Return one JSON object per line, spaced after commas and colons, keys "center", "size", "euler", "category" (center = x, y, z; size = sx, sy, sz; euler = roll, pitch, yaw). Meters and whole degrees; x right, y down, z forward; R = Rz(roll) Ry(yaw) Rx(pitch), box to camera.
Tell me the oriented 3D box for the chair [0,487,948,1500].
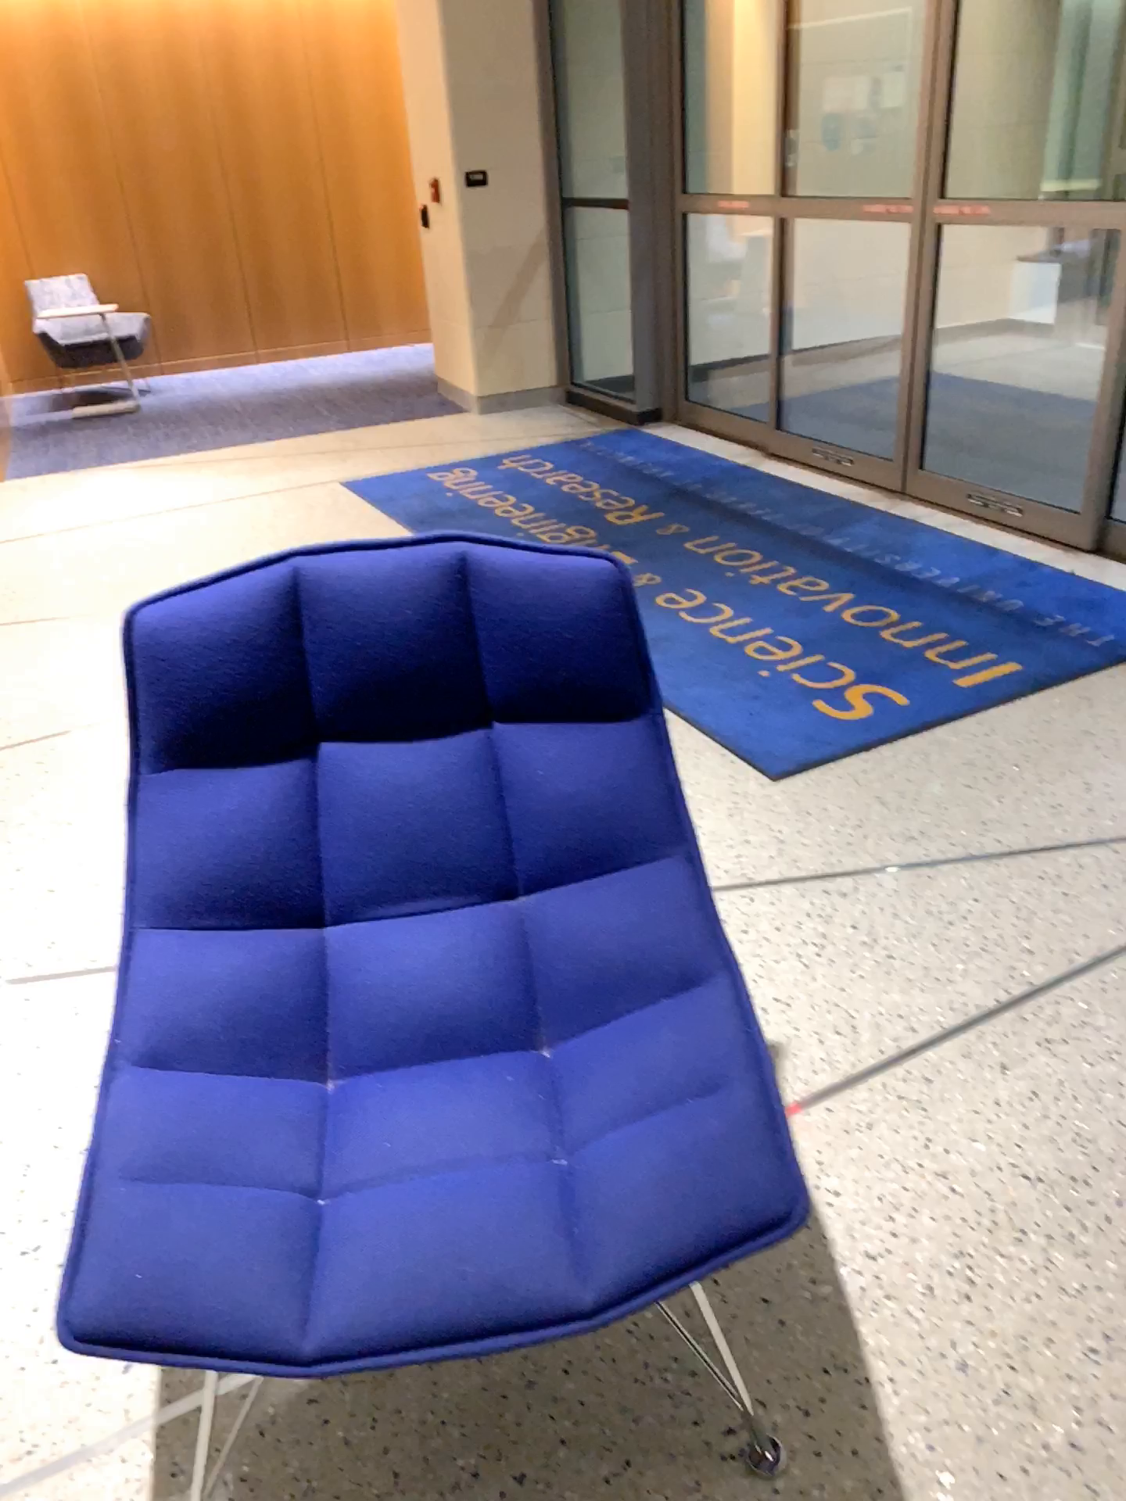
{"center": [-0.162, 0.275, 1.367], "size": [0.854, 0.894, 0.800], "euler": [-7, 28, -5], "category": "chair"}
